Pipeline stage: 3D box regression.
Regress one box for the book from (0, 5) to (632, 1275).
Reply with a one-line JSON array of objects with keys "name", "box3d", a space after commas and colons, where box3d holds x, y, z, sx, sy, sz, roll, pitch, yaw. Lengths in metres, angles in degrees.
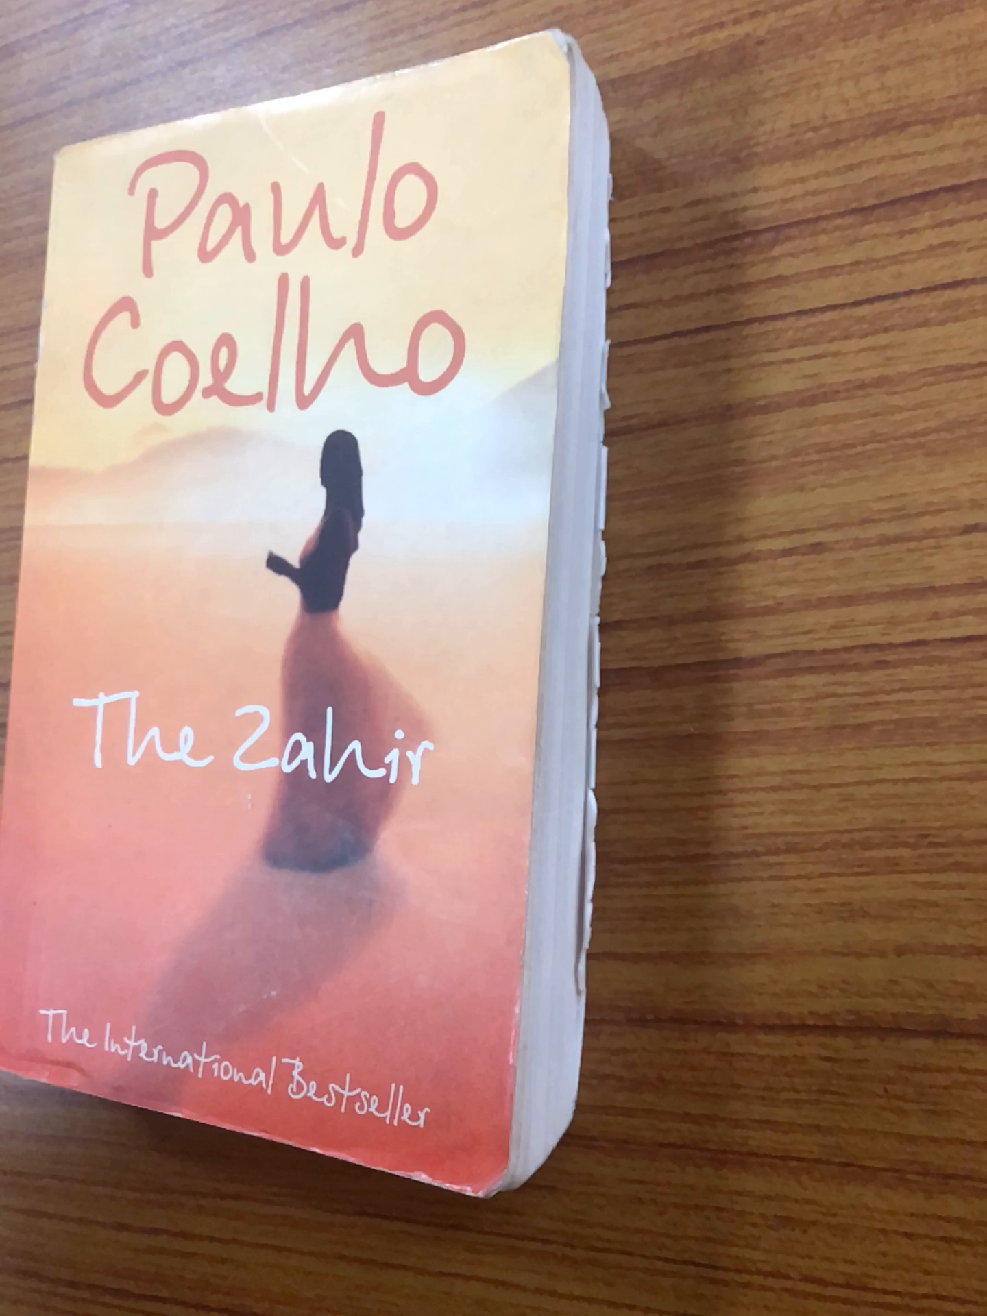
[{"name": "book", "box3d": [-0.044, -0.006, 0.199, 0.120, 0.040, 0.180, 2, 85, 24]}]
